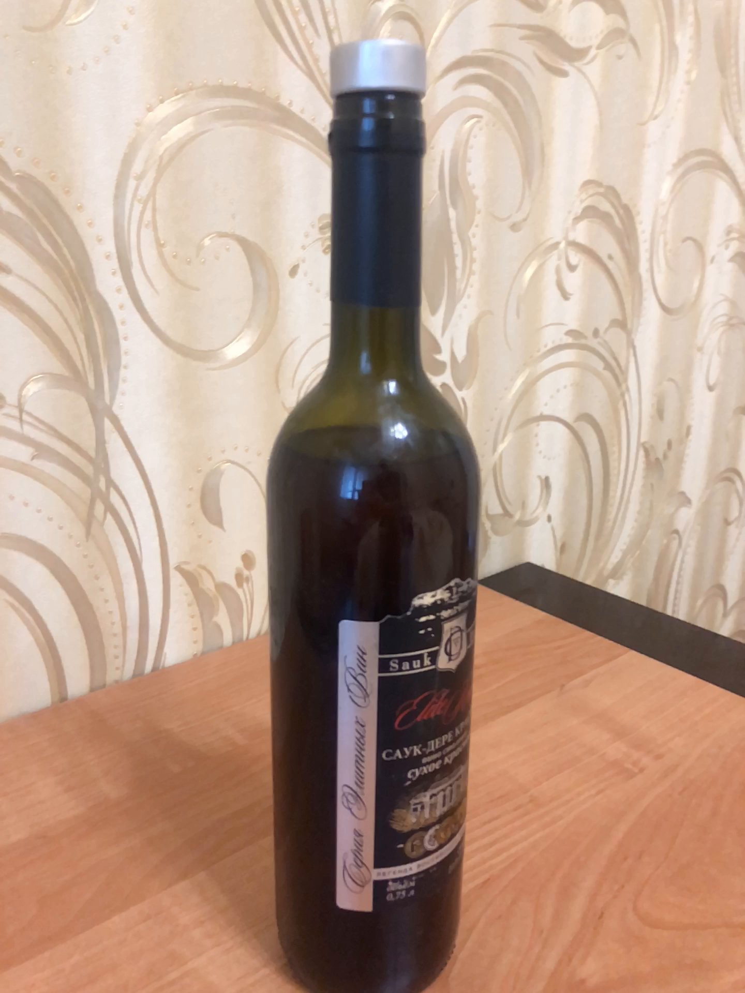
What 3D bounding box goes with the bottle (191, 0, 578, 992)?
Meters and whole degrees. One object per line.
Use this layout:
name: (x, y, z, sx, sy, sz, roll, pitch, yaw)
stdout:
bottle: (0.001, 0.020, 0.282, 0.083, 0.322, 0.074, -12, 21, -36)
